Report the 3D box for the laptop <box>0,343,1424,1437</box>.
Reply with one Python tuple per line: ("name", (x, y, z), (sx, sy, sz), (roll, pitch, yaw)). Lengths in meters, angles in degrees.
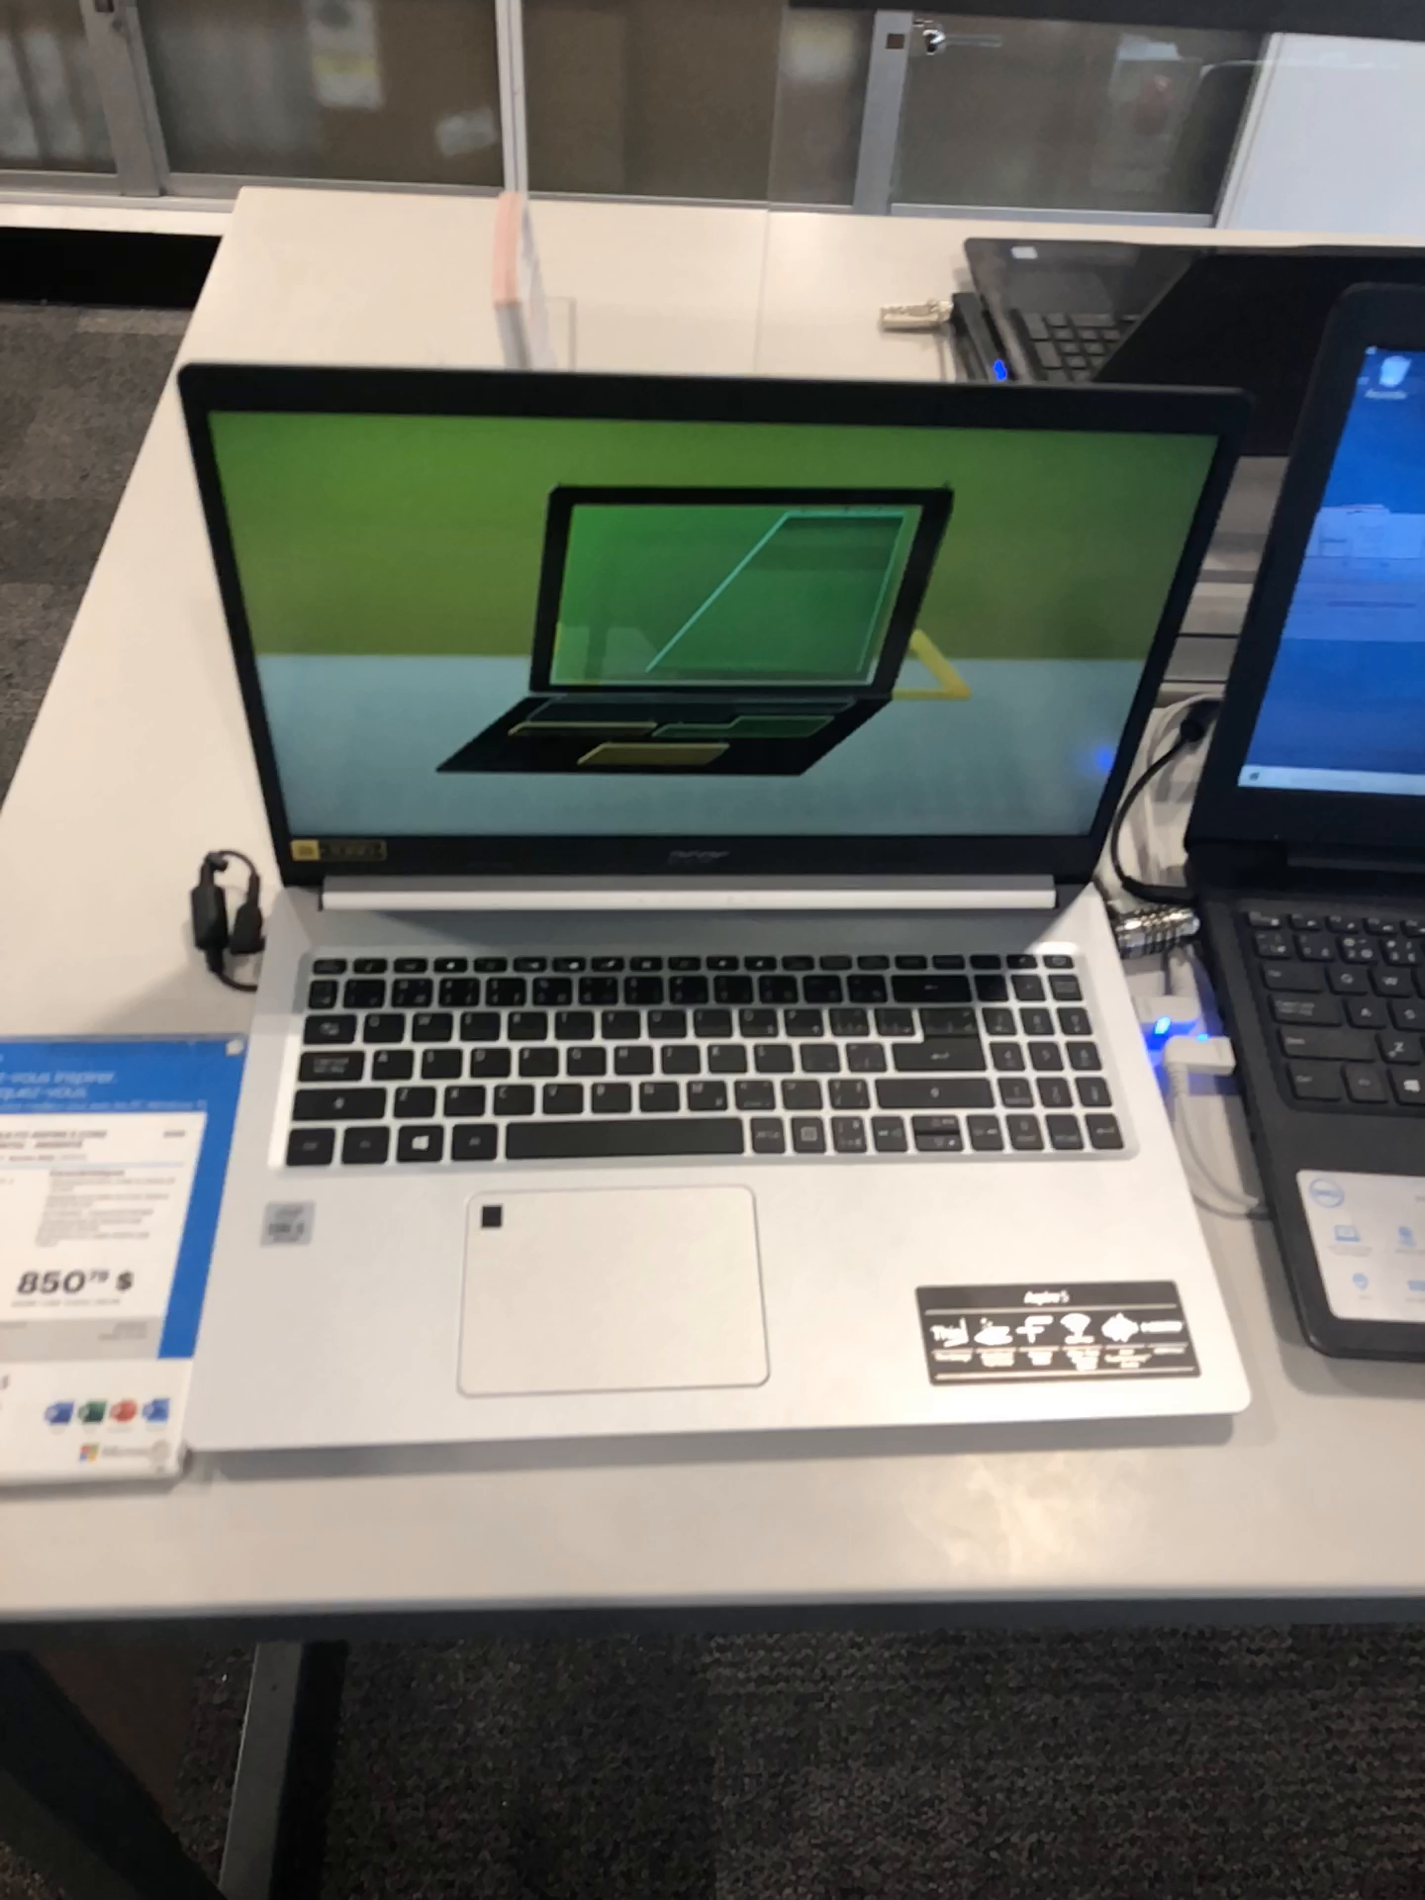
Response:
("laptop", (0.002, -0.021, 0.520), (0.349, 0.229, 0.268), (-1, 50, -4))
